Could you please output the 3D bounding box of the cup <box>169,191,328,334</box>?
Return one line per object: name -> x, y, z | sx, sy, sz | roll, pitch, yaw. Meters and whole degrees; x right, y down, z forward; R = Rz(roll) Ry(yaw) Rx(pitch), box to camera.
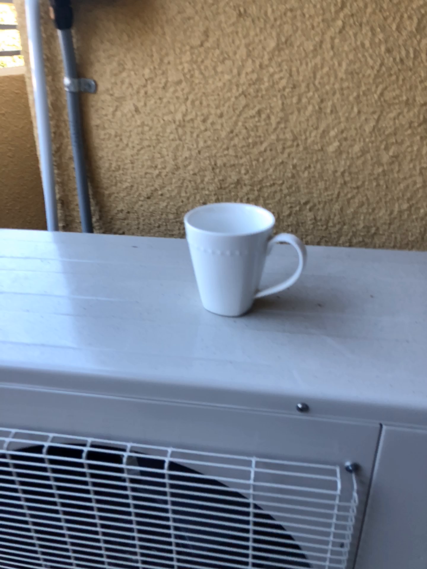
cup -> 0.038, -0.029, 0.500 | 0.140, 0.100, 0.100 | 10, 29, 17
